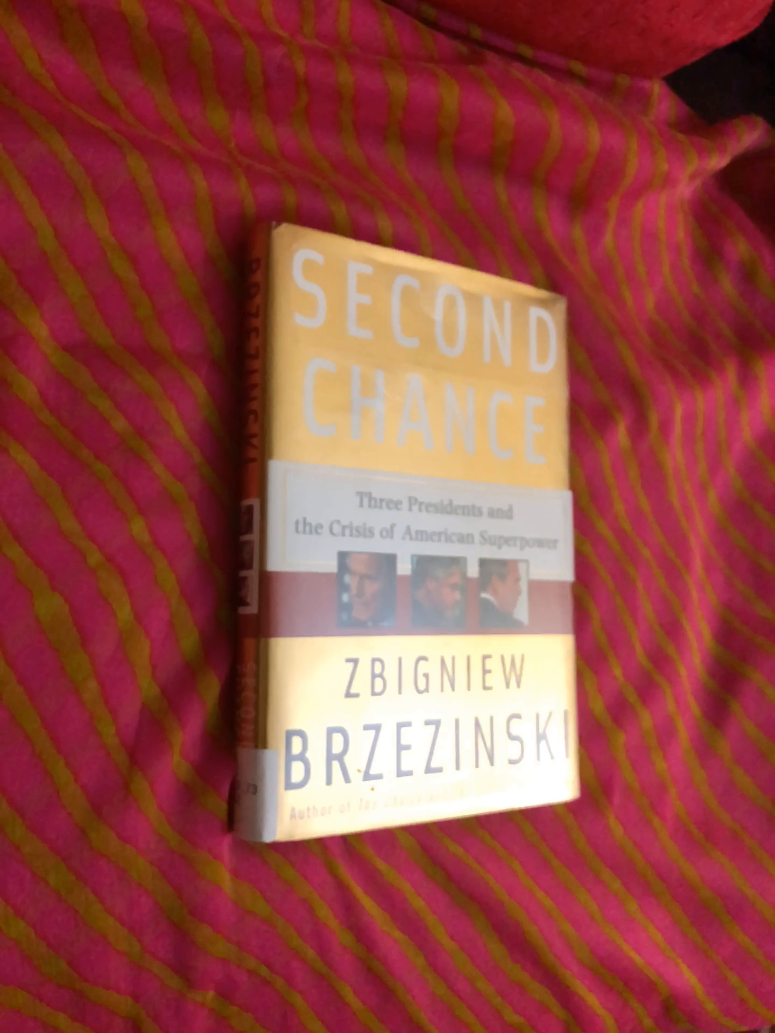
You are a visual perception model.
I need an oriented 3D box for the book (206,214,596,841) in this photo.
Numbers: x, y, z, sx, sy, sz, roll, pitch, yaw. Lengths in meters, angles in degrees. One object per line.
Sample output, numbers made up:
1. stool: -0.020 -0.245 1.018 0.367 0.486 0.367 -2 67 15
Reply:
1. book: 0.010 0.006 0.324 0.141 0.037 0.200 4 84 -27
